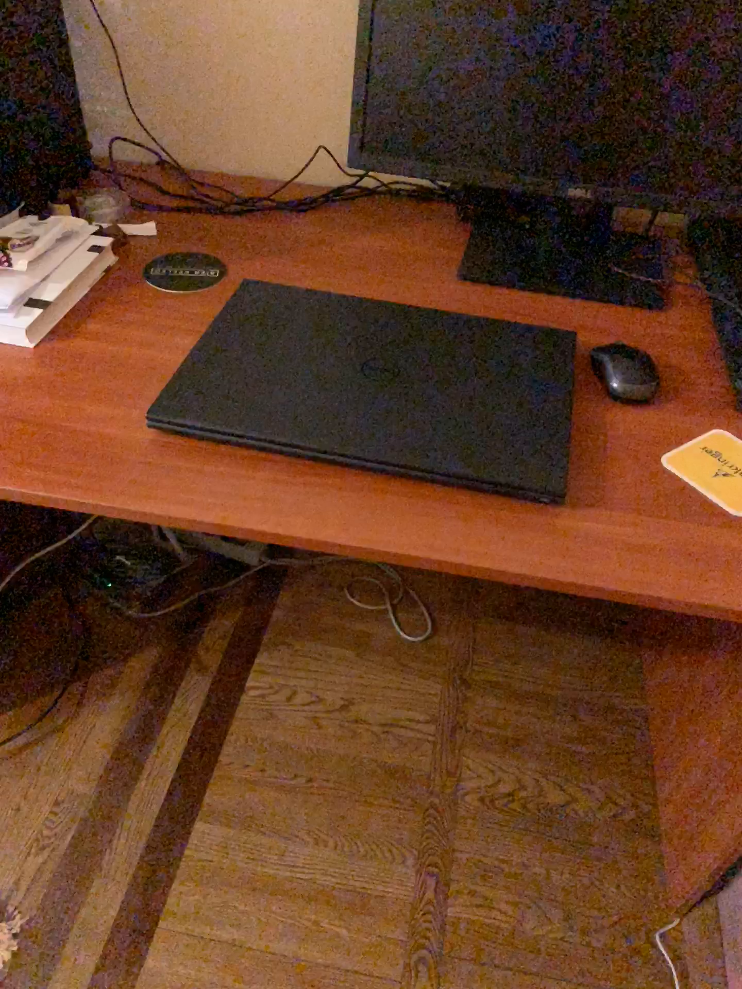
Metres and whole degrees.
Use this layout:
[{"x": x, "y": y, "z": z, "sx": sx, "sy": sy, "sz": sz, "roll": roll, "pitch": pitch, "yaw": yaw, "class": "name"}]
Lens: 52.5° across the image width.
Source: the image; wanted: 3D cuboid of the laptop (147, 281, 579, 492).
[{"x": 0.013, "y": -0.116, "z": 0.700, "sx": 0.351, "sy": 0.001, "sz": 0.249, "roll": 11, "pitch": 43, "yaw": 7, "class": "laptop"}]
